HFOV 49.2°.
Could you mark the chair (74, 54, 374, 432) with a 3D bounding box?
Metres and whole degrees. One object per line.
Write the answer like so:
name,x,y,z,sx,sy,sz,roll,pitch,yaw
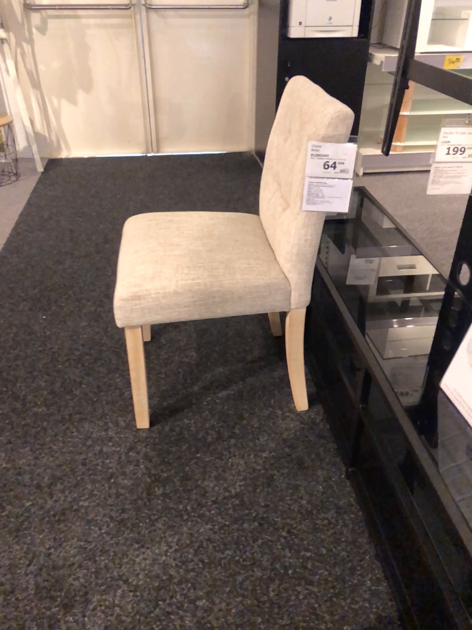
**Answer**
chair,-0.042,-0.207,1.422,0.560,0.855,0.553,-3,33,-5
